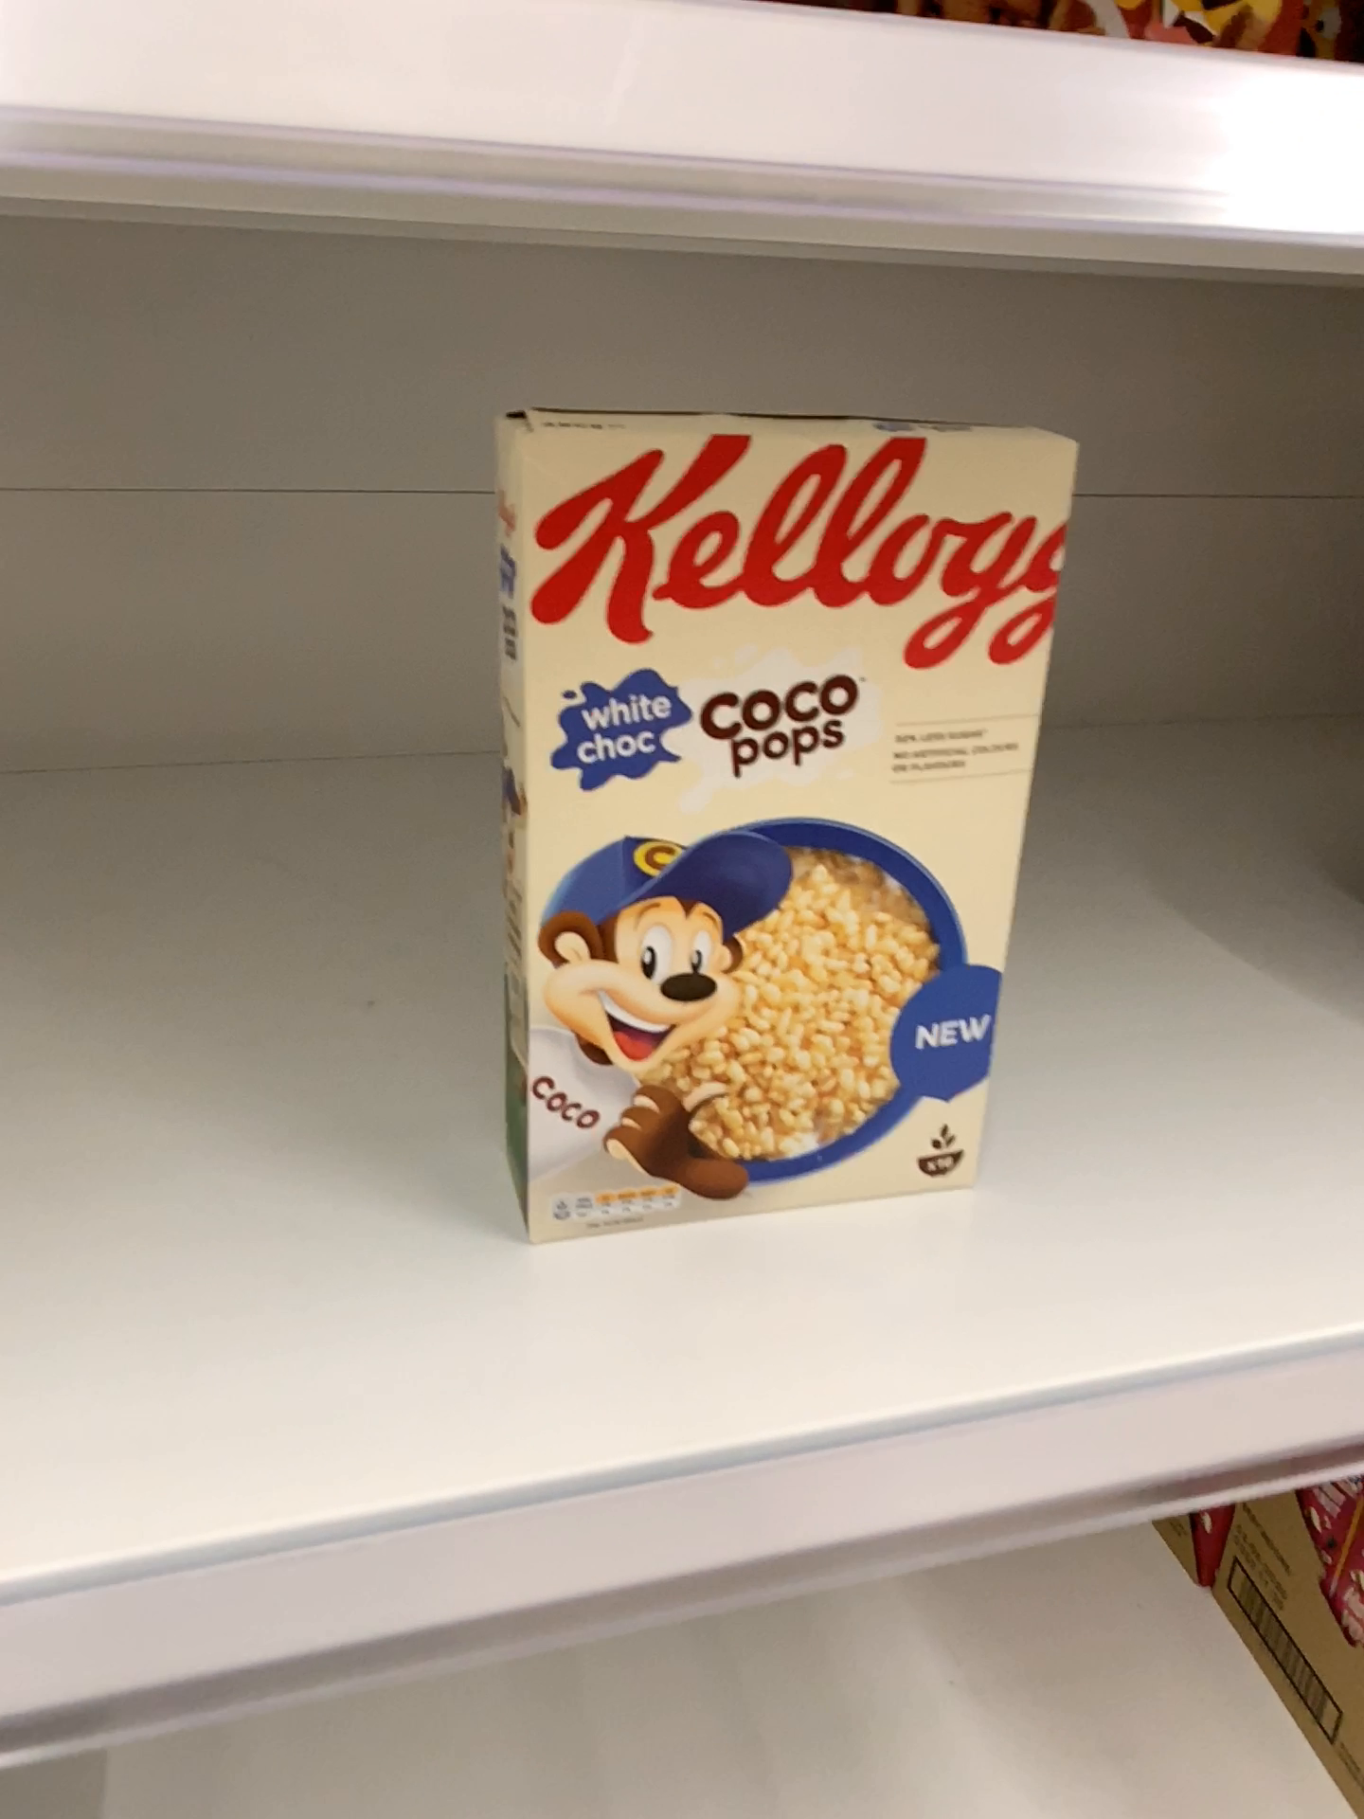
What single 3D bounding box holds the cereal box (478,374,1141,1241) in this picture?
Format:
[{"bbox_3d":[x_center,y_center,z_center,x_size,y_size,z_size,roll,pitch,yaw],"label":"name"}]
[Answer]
[{"bbox_3d":[0.037,-0.036,0.519,0.210,0.298,0.070,-4,22,-15],"label":"cereal box"}]
